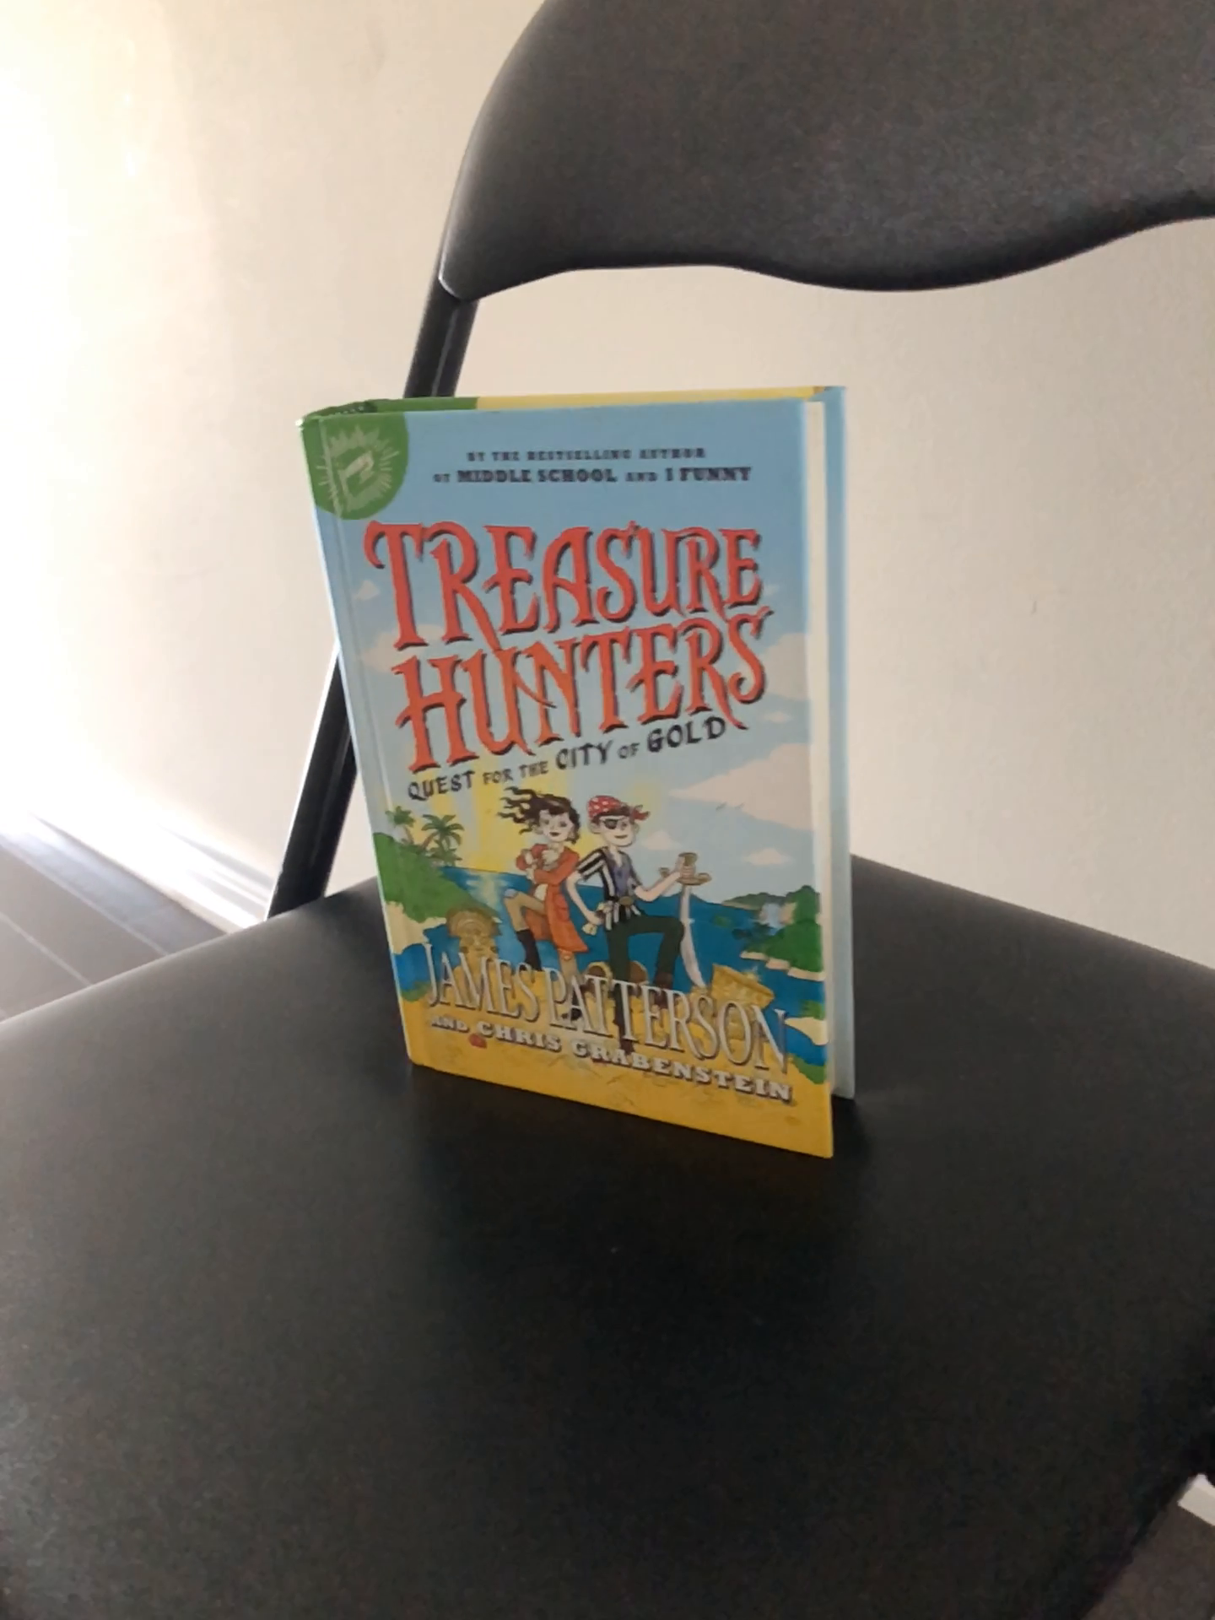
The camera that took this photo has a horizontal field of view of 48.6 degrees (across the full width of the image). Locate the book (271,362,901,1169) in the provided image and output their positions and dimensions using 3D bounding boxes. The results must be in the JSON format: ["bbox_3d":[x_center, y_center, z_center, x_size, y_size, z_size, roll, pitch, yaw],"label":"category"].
[{"bbox_3d":[-0.001,-0.010,0.391,0.155,0.215,0.040,6,28,28],"label":"book"}]
